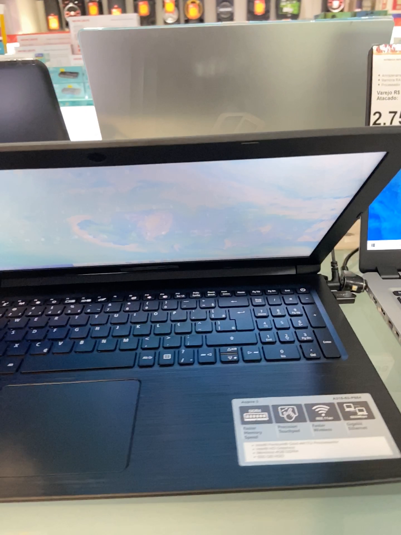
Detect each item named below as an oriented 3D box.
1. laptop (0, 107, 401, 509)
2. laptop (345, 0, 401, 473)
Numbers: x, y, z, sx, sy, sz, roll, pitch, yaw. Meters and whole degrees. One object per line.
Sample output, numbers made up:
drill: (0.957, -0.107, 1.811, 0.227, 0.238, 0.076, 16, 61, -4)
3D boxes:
laptop: (-0.061, -0.001, 0.305, 0.375, 0.169, 0.231, -3, 29, 0)
laptop: (0.351, -0.061, 0.321, 0.362, 0.227, 0.315, -2, 27, 2)
